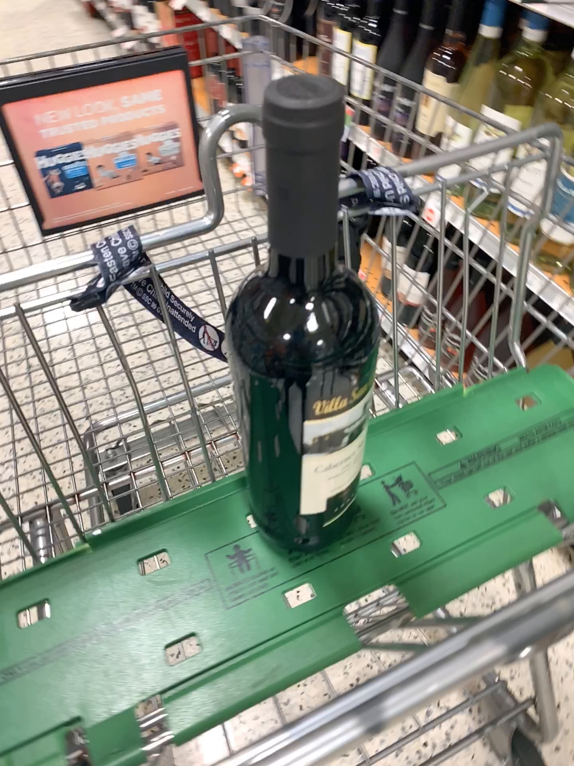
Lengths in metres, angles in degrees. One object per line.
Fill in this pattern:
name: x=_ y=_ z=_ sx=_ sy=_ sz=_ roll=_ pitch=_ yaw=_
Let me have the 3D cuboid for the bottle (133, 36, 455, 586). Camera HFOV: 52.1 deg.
bottle: x=0.007 y=-0.005 z=0.302 sx=0.075 sy=0.277 sz=0.081 roll=-1 pitch=49 yaw=1
